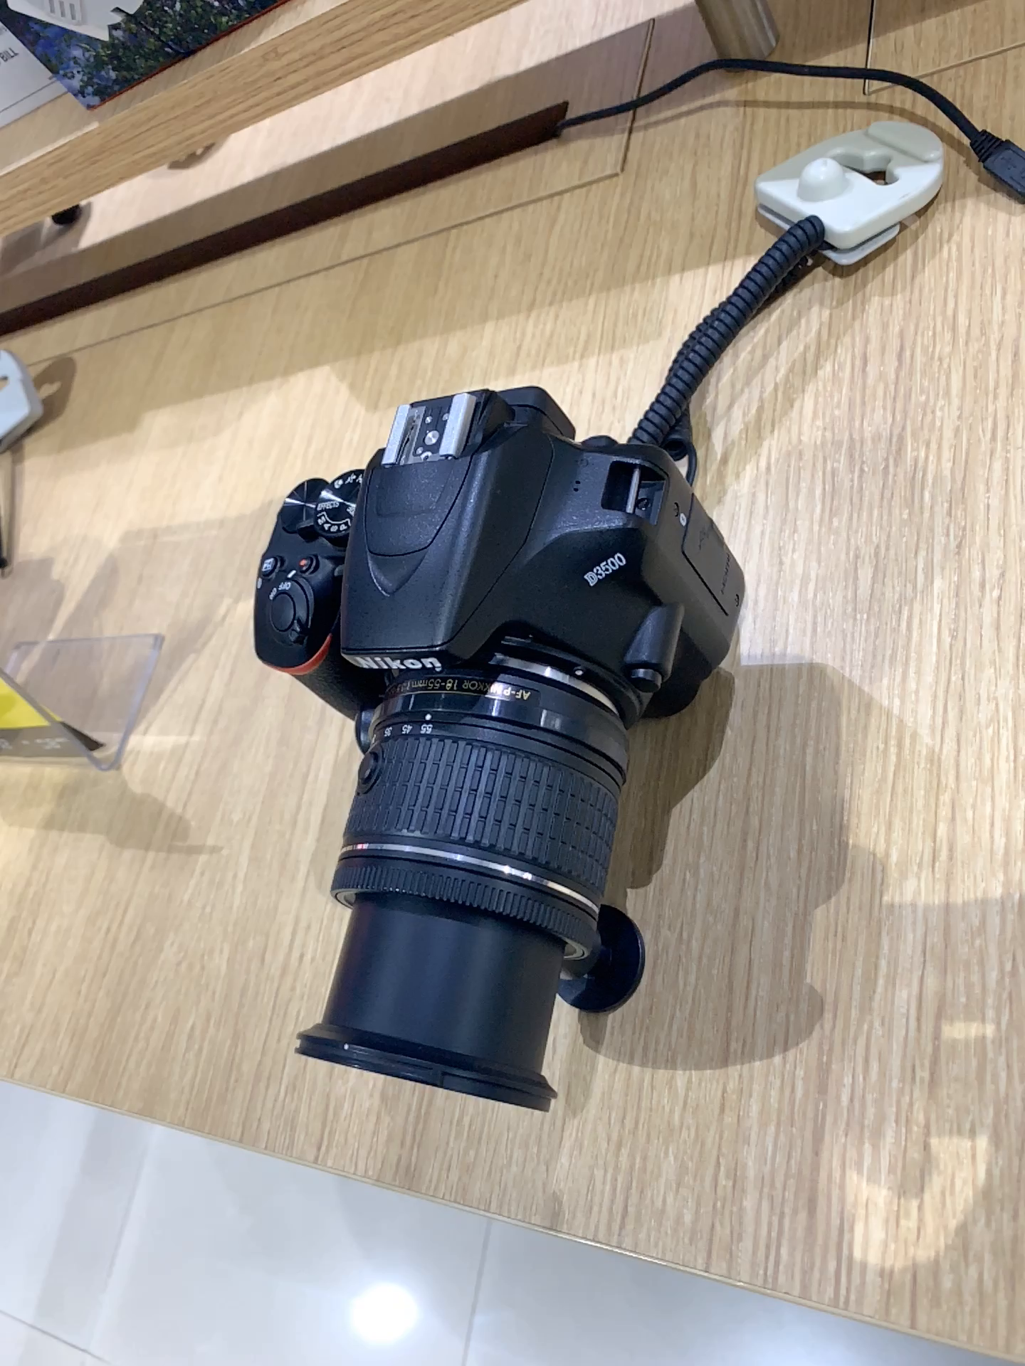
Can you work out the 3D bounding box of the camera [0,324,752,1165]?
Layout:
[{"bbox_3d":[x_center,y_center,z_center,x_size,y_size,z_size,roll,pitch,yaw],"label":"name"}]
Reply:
[{"bbox_3d":[-0.025,0.020,0.236,0.116,0.100,0.136,-3,64,32],"label":"camera"}]
